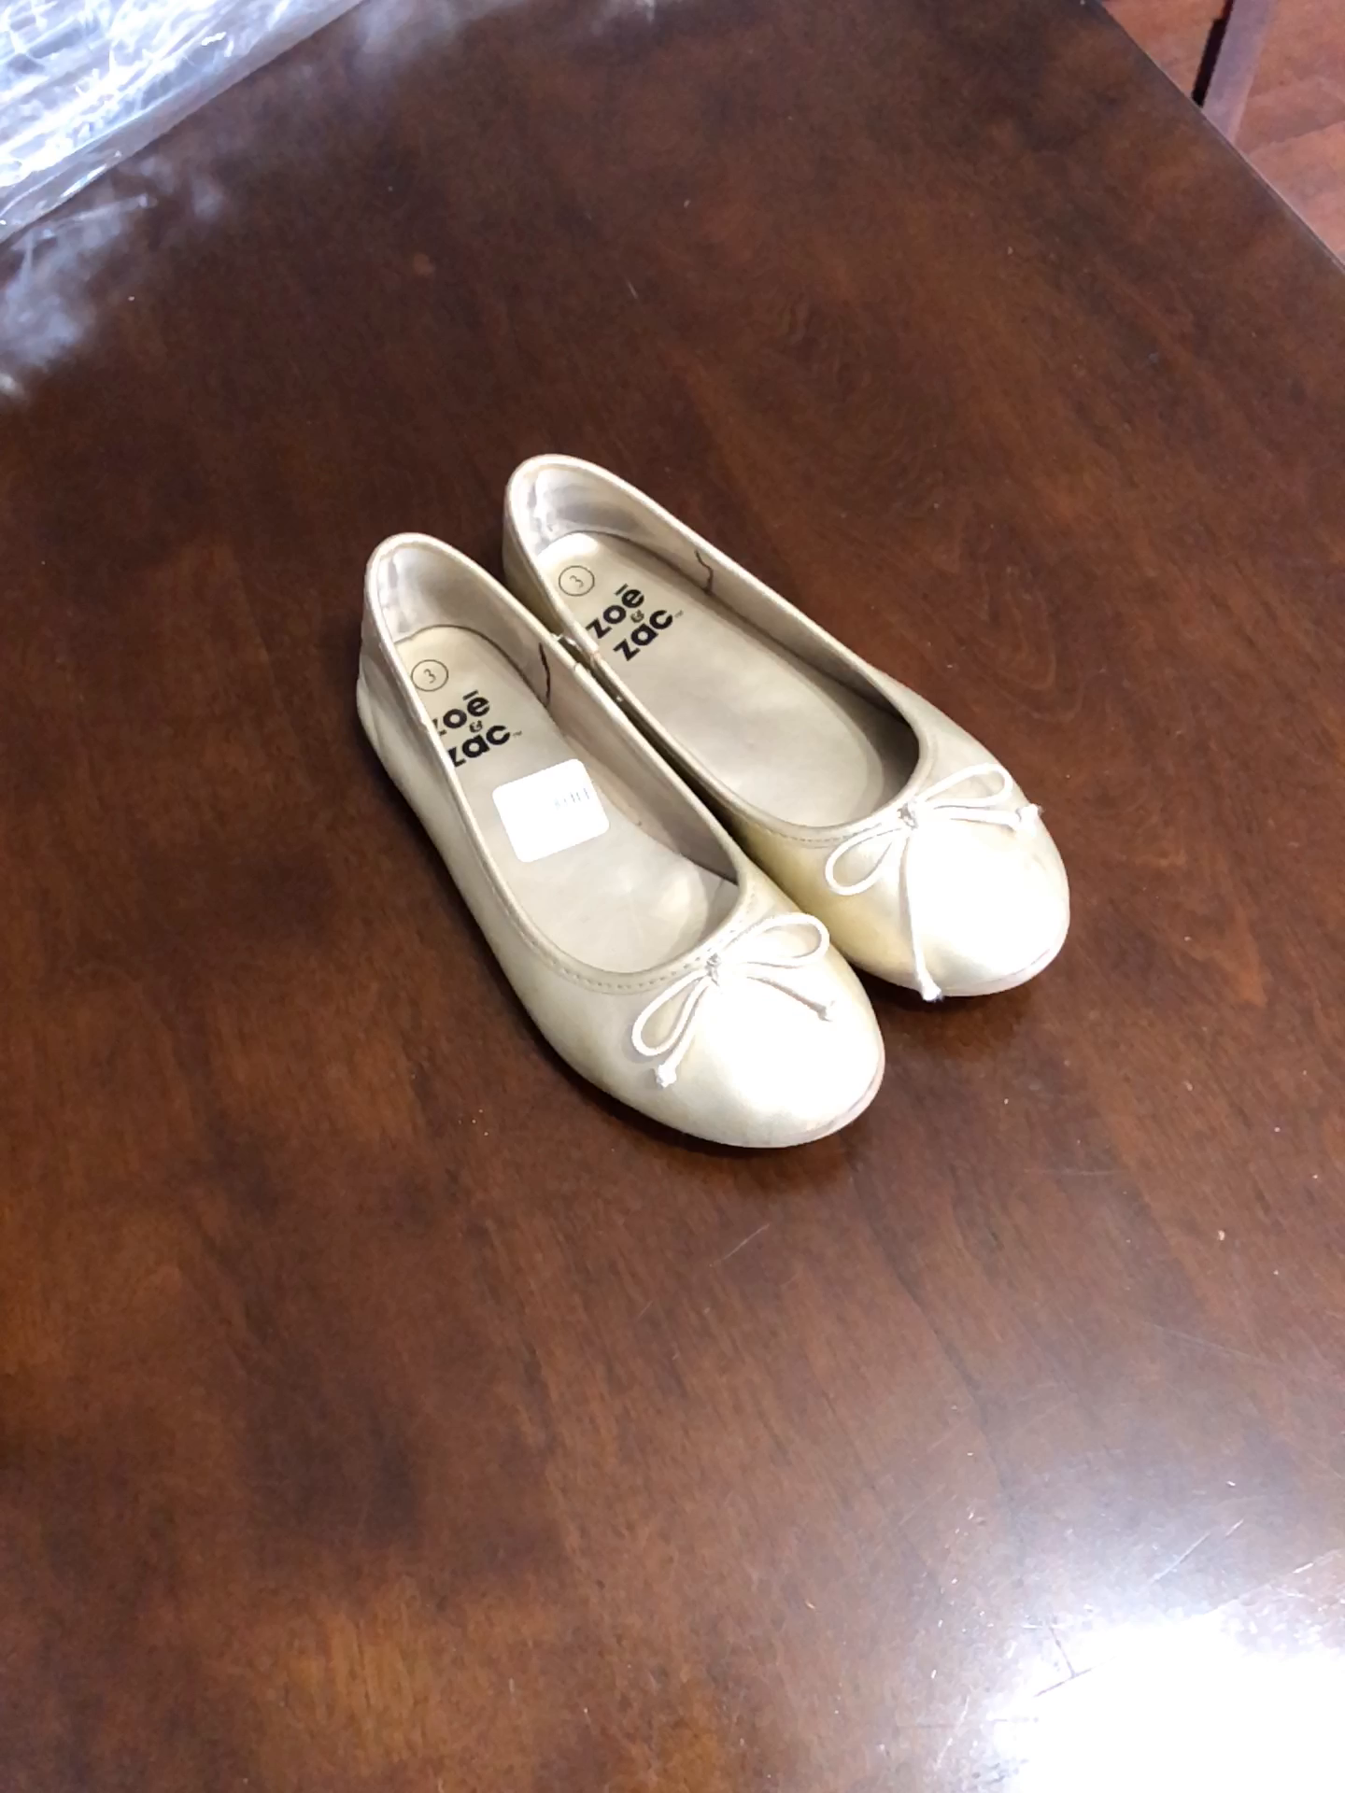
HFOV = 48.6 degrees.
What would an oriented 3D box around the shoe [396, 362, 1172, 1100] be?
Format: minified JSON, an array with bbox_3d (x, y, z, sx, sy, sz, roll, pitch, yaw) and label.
[{"bbox_3d":[0.026,-0.058,0.463,0.090,0.070,0.230,-39,67,-17],"label":"shoe"}]

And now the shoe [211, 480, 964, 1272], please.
[{"bbox_3d":[-0.030,-0.013,0.435,0.080,0.070,0.230,-37,66,-16],"label":"shoe"}]
